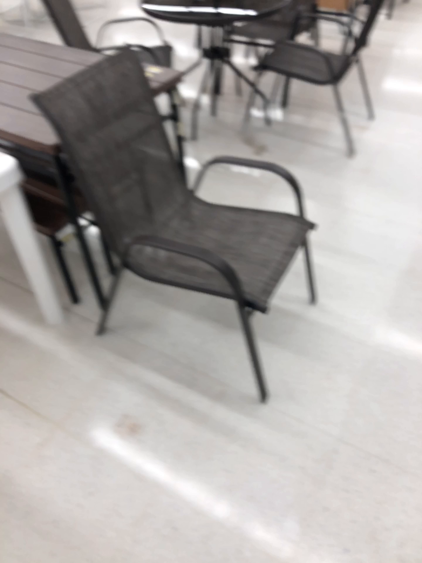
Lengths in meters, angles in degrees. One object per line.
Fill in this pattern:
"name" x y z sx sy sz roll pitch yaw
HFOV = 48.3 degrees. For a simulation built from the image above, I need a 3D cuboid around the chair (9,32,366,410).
"chair" -0.023 -0.205 1.493 0.713 0.853 0.602 19 47 21
